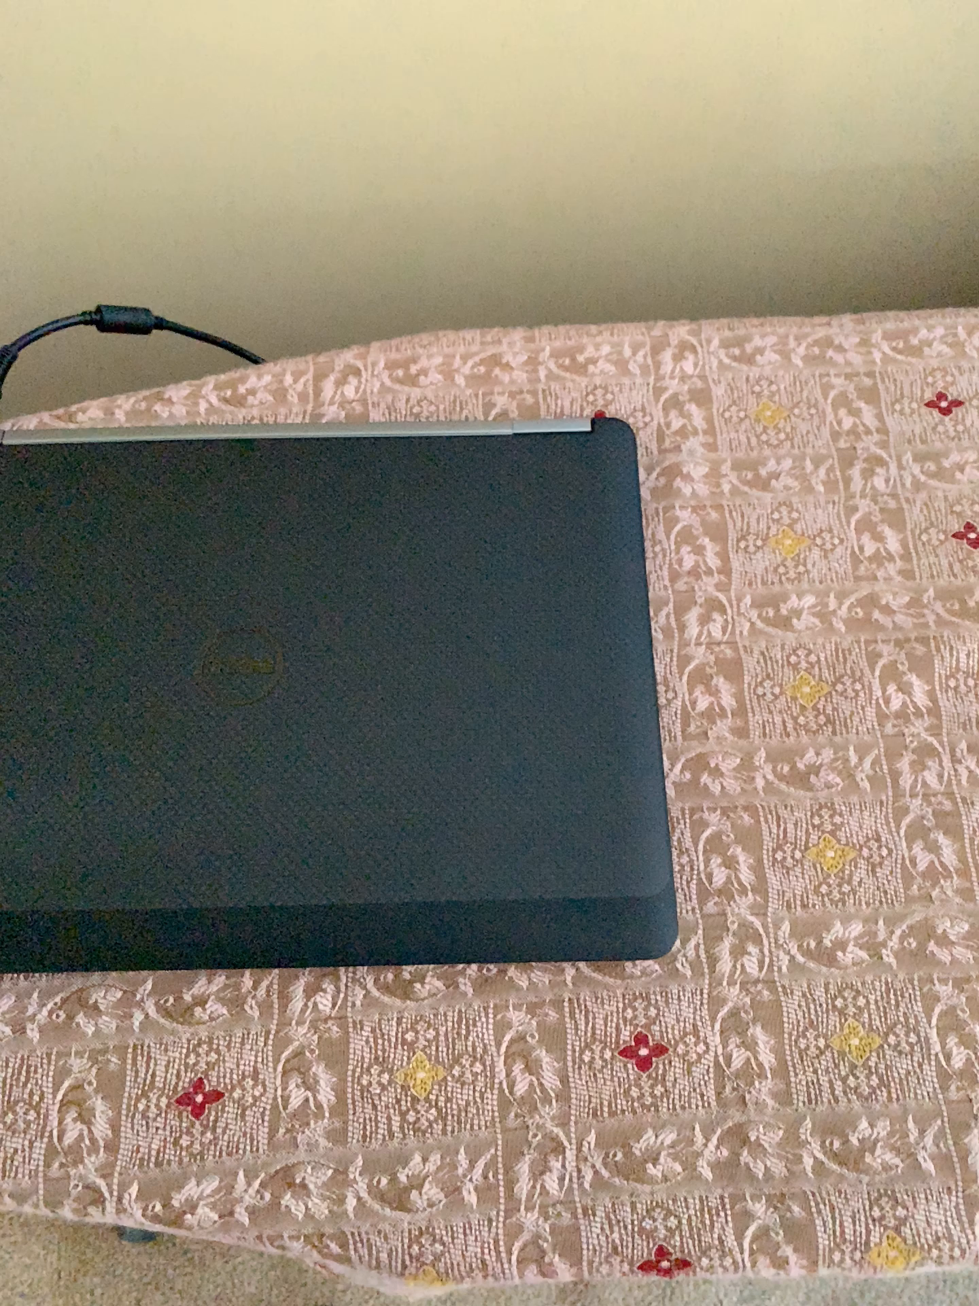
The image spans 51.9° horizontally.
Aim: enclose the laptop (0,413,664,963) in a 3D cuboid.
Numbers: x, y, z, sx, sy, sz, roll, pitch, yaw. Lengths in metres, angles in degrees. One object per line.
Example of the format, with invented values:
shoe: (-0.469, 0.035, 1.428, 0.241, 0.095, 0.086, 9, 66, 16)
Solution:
laptop: (-0.091, 0.009, 0.370, 0.294, 0.017, 0.197, -2, 71, 4)
